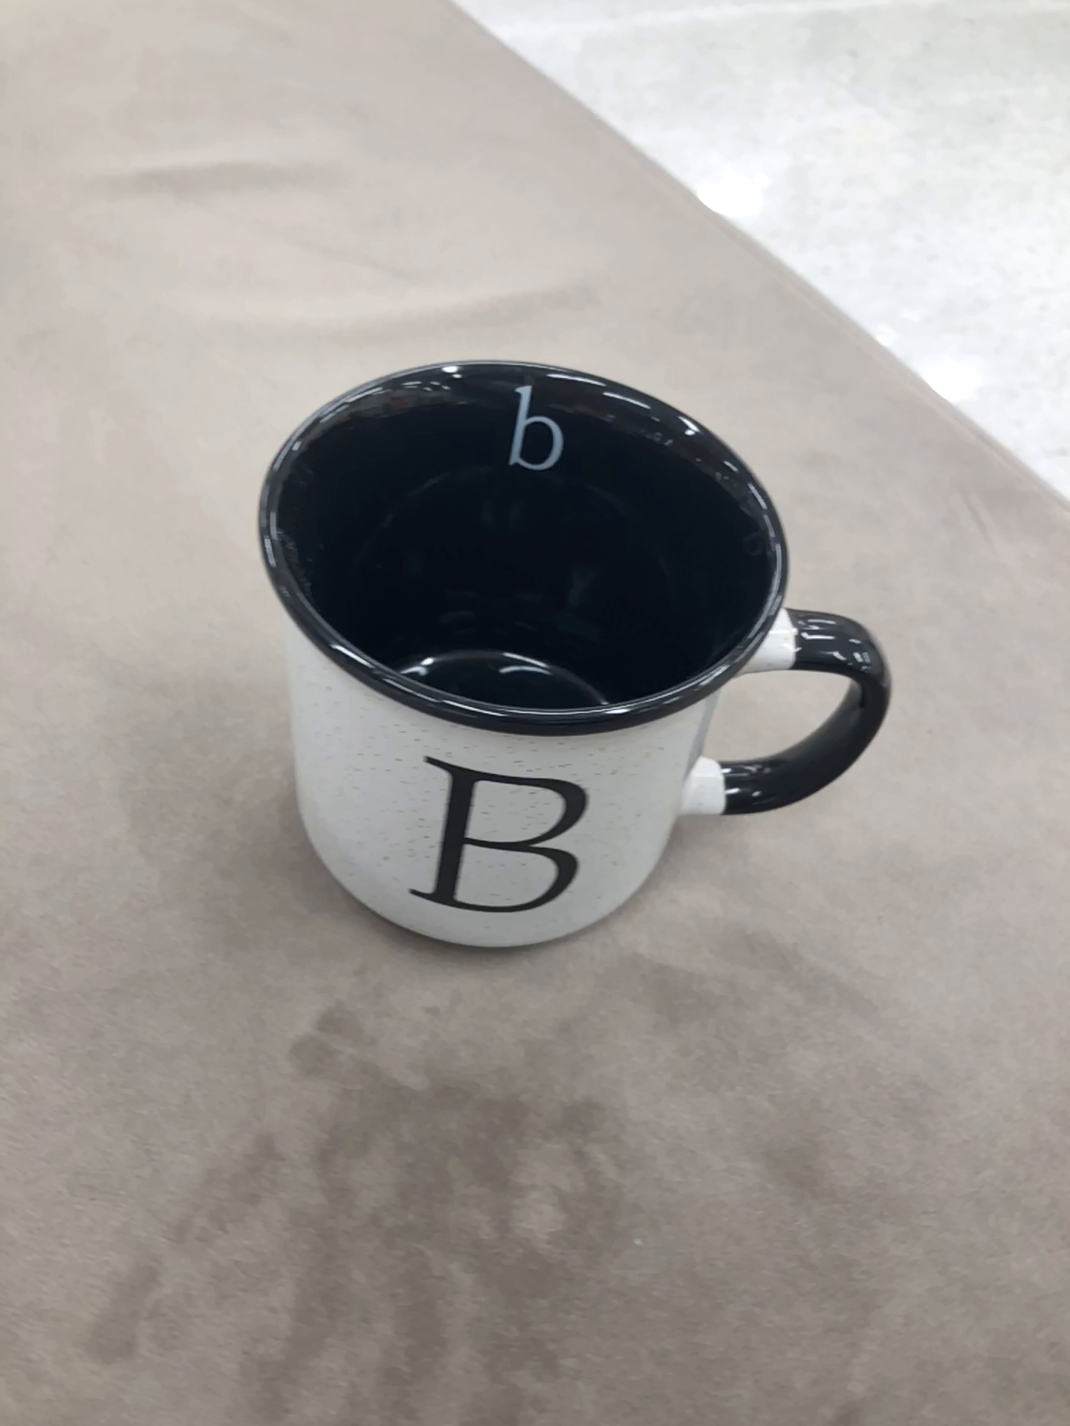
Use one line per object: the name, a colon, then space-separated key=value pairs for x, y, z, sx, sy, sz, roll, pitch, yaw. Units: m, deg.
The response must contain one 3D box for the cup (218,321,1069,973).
cup: x=0.018 y=-0.012 z=0.266 sx=0.150 sy=0.089 sz=0.101 roll=4 pitch=50 yaw=-5
